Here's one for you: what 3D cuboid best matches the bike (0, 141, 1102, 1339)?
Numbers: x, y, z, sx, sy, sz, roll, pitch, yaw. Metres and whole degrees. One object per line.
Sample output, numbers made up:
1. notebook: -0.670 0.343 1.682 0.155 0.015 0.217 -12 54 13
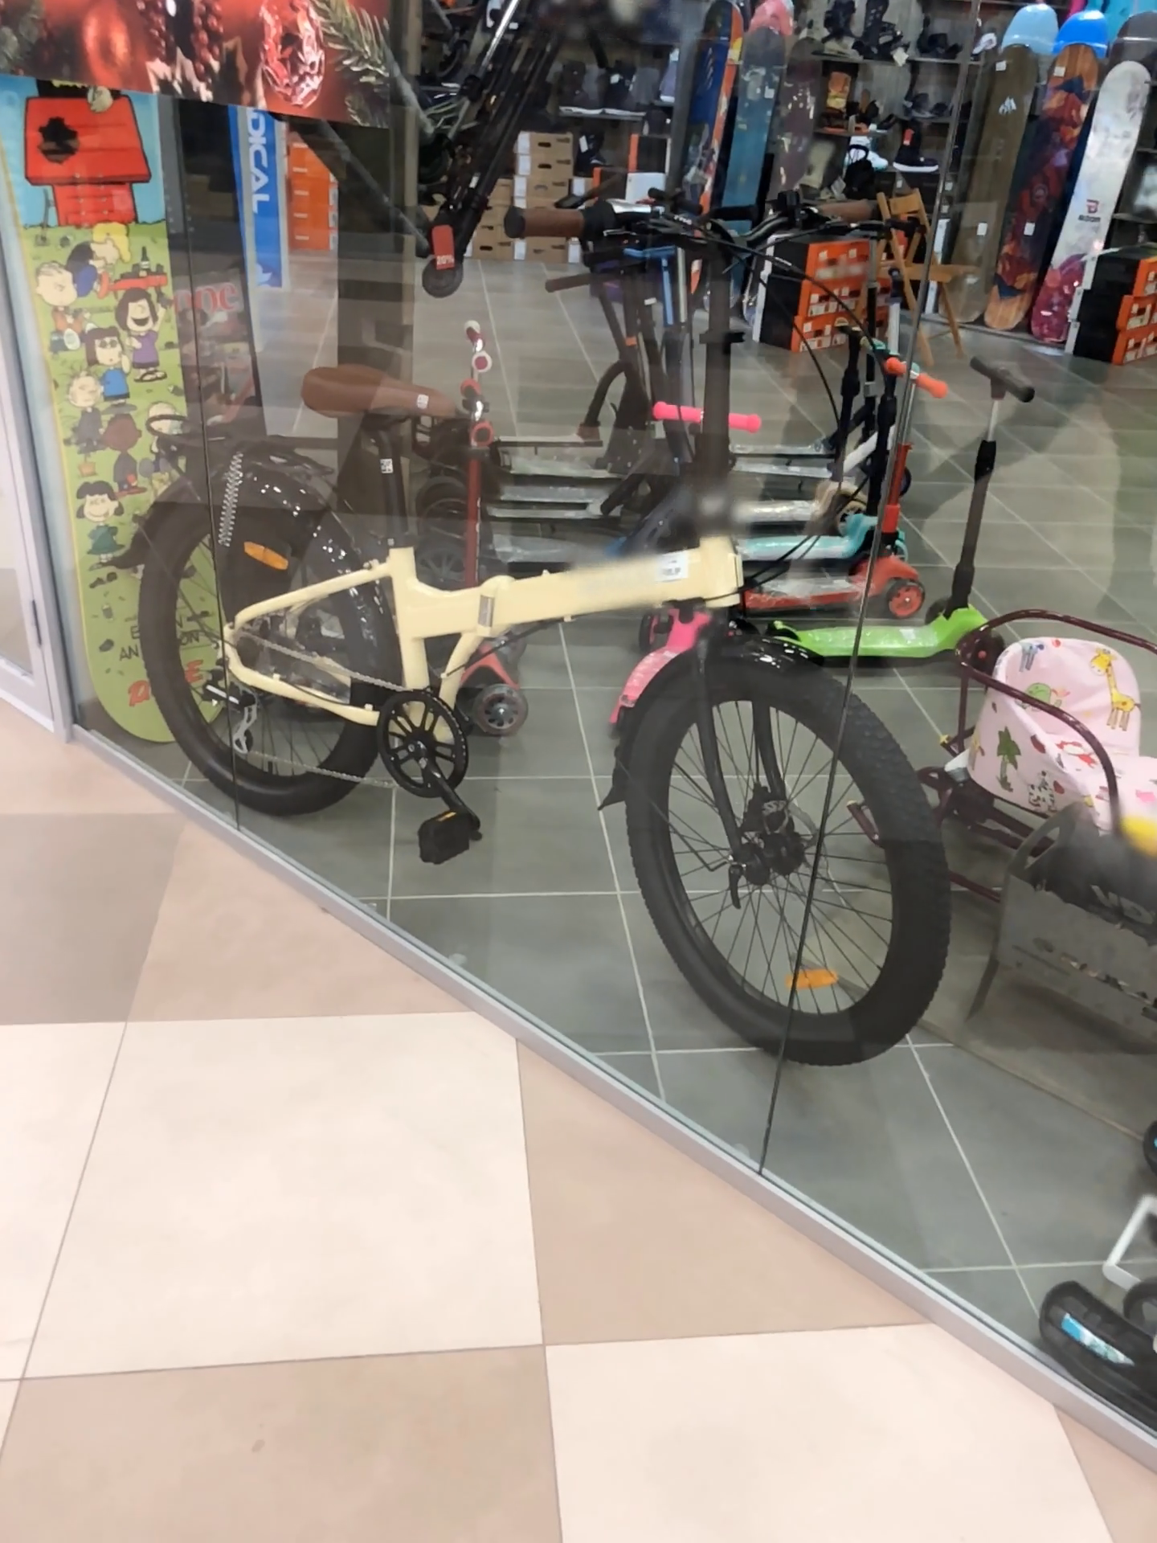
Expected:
1. bike: -0.216 -0.241 1.967 1.705 1.175 0.595 23 34 30
